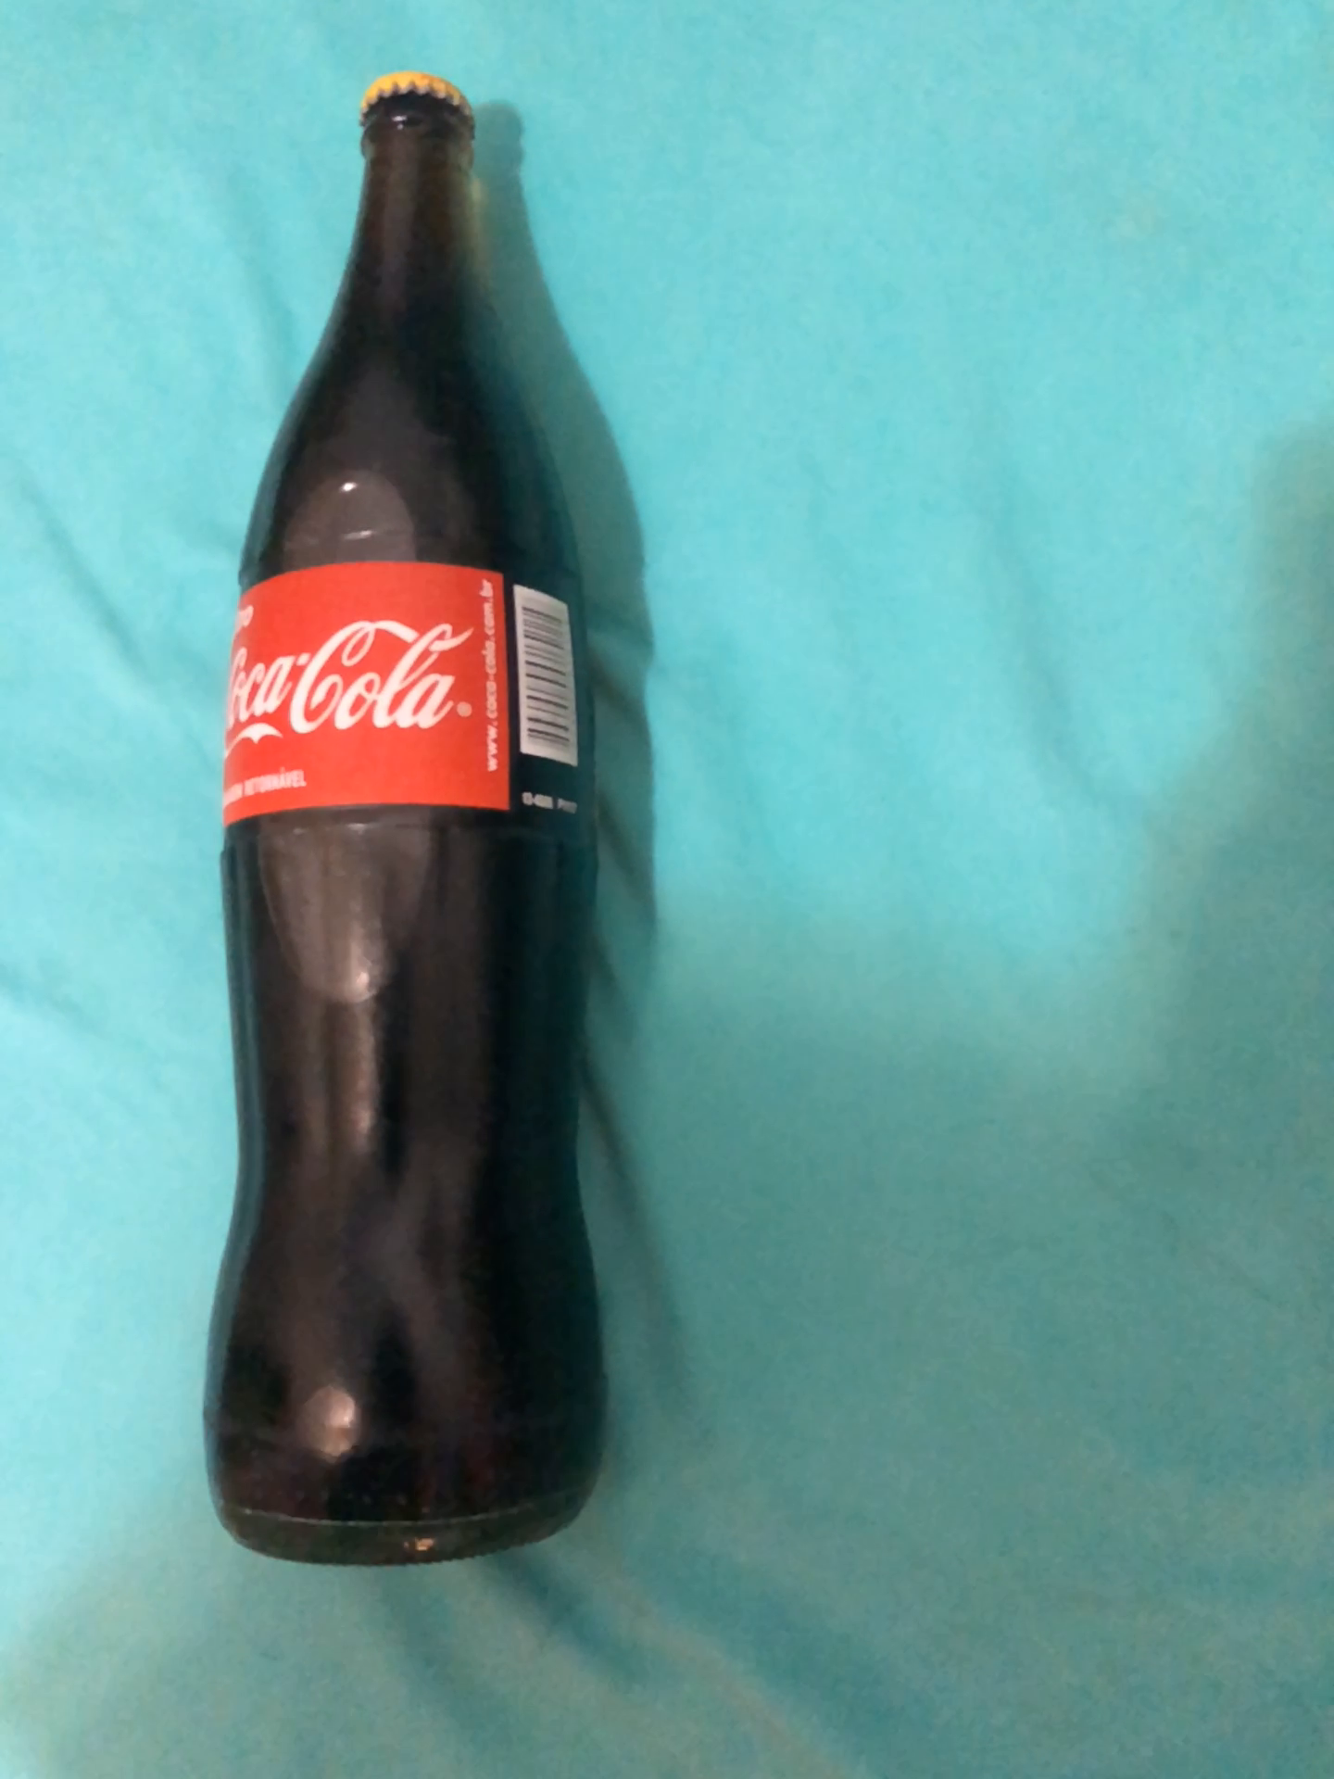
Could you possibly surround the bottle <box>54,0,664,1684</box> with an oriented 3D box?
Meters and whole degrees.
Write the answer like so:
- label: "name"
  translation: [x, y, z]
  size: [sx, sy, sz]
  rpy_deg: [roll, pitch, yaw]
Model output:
- label: "bottle"
  translation: [-0.060, -0.034, 0.327]
  size: [0.100, 0.070, 0.360]
  rpy_deg: [-3, 81, 13]
